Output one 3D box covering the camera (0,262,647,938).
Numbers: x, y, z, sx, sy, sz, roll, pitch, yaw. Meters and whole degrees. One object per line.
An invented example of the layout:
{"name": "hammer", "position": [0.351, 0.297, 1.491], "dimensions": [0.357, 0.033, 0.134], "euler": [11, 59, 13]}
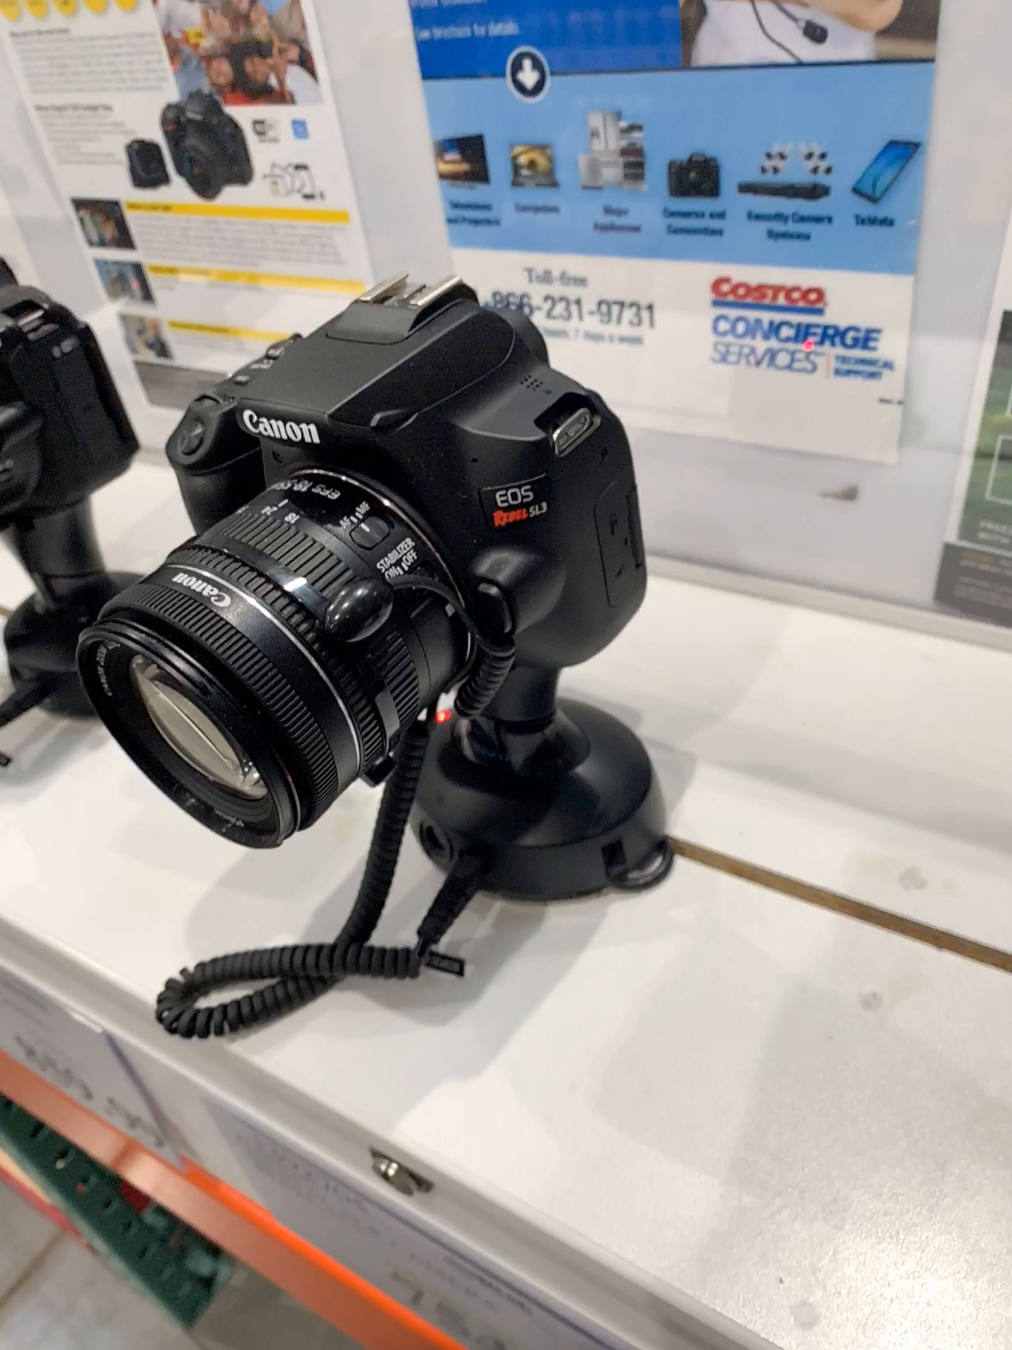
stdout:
{"name": "camera", "position": [-0.051, -0.029, 0.247], "dimensions": [0.120, 0.089, 0.111], "euler": [15, 46, 32]}
